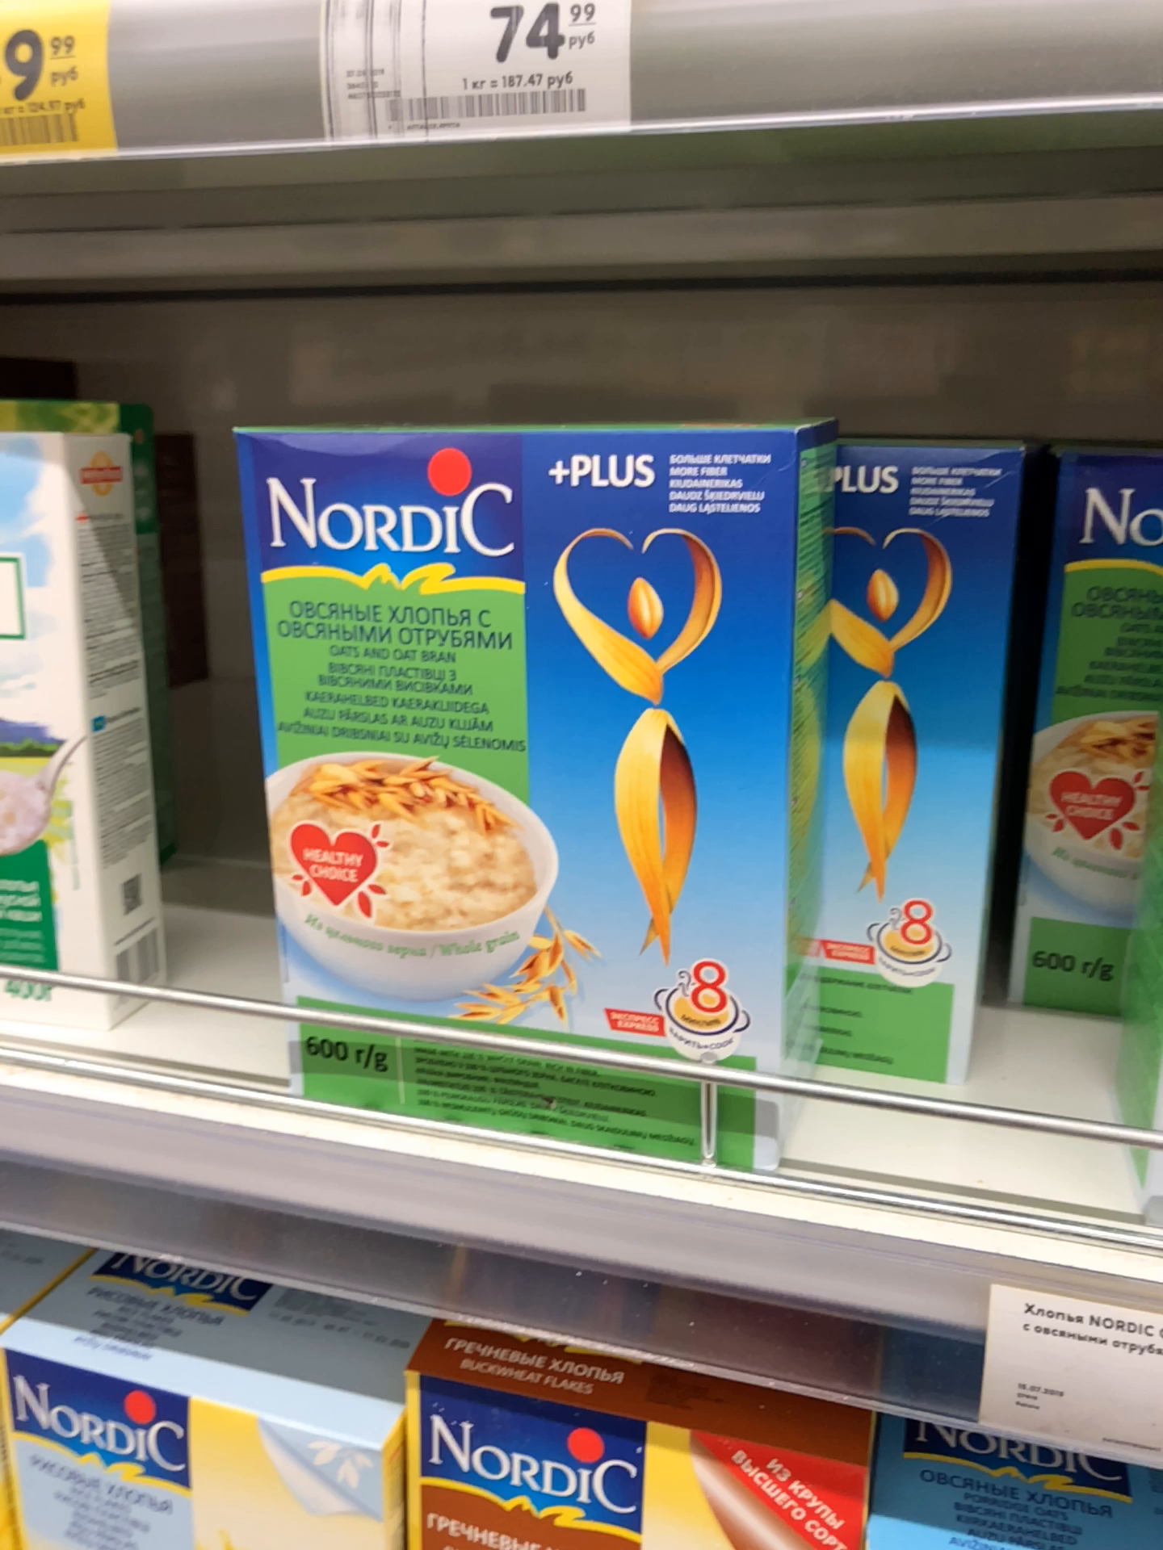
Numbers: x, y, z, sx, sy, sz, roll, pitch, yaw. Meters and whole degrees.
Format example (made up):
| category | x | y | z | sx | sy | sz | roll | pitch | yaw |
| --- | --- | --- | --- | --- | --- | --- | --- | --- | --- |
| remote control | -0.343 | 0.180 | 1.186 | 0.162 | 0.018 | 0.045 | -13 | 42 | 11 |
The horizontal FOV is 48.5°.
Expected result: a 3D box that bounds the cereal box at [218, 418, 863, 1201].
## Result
| category | x | y | z | sx | sy | sz | roll | pitch | yaw |
| --- | --- | --- | --- | --- | --- | --- | --- | --- | --- |
| cereal box | -0.008 | 0.000 | 0.355 | 0.150 | 0.189 | 0.070 | 5 | 16 | 18 |
